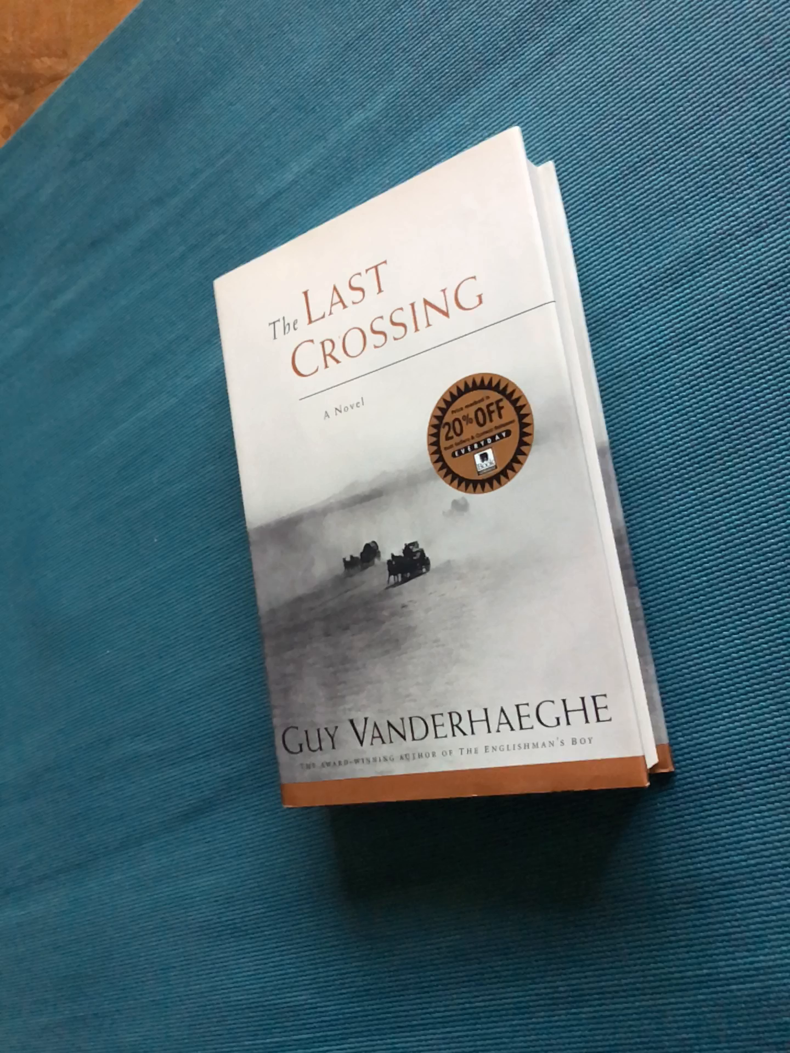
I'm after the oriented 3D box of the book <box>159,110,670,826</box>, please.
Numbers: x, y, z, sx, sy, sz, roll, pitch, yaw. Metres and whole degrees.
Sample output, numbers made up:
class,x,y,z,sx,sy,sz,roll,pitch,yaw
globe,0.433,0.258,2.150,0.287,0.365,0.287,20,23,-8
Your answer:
class,x,y,z,sx,sy,sz,roll,pitch,yaw
book,-0.007,-0.010,0.339,0.171,0.040,0.230,-15,78,31
